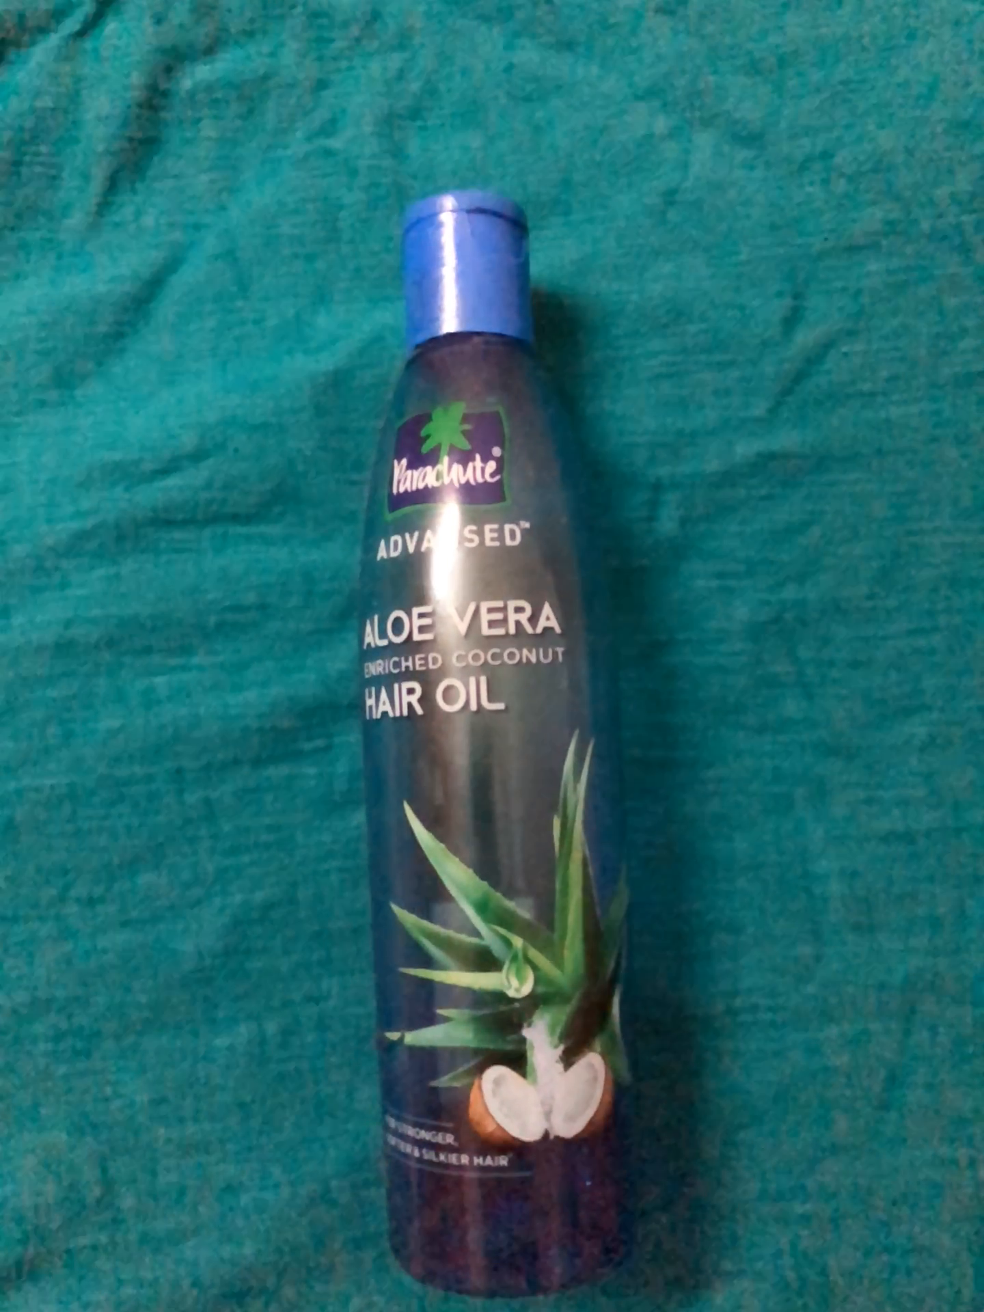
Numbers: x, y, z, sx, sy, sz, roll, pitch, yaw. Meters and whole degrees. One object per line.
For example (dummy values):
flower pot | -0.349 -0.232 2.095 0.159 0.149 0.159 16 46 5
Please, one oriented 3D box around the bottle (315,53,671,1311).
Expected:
bottle | 0.000 0.004 0.201 0.050 0.040 0.210 -4 83 13
